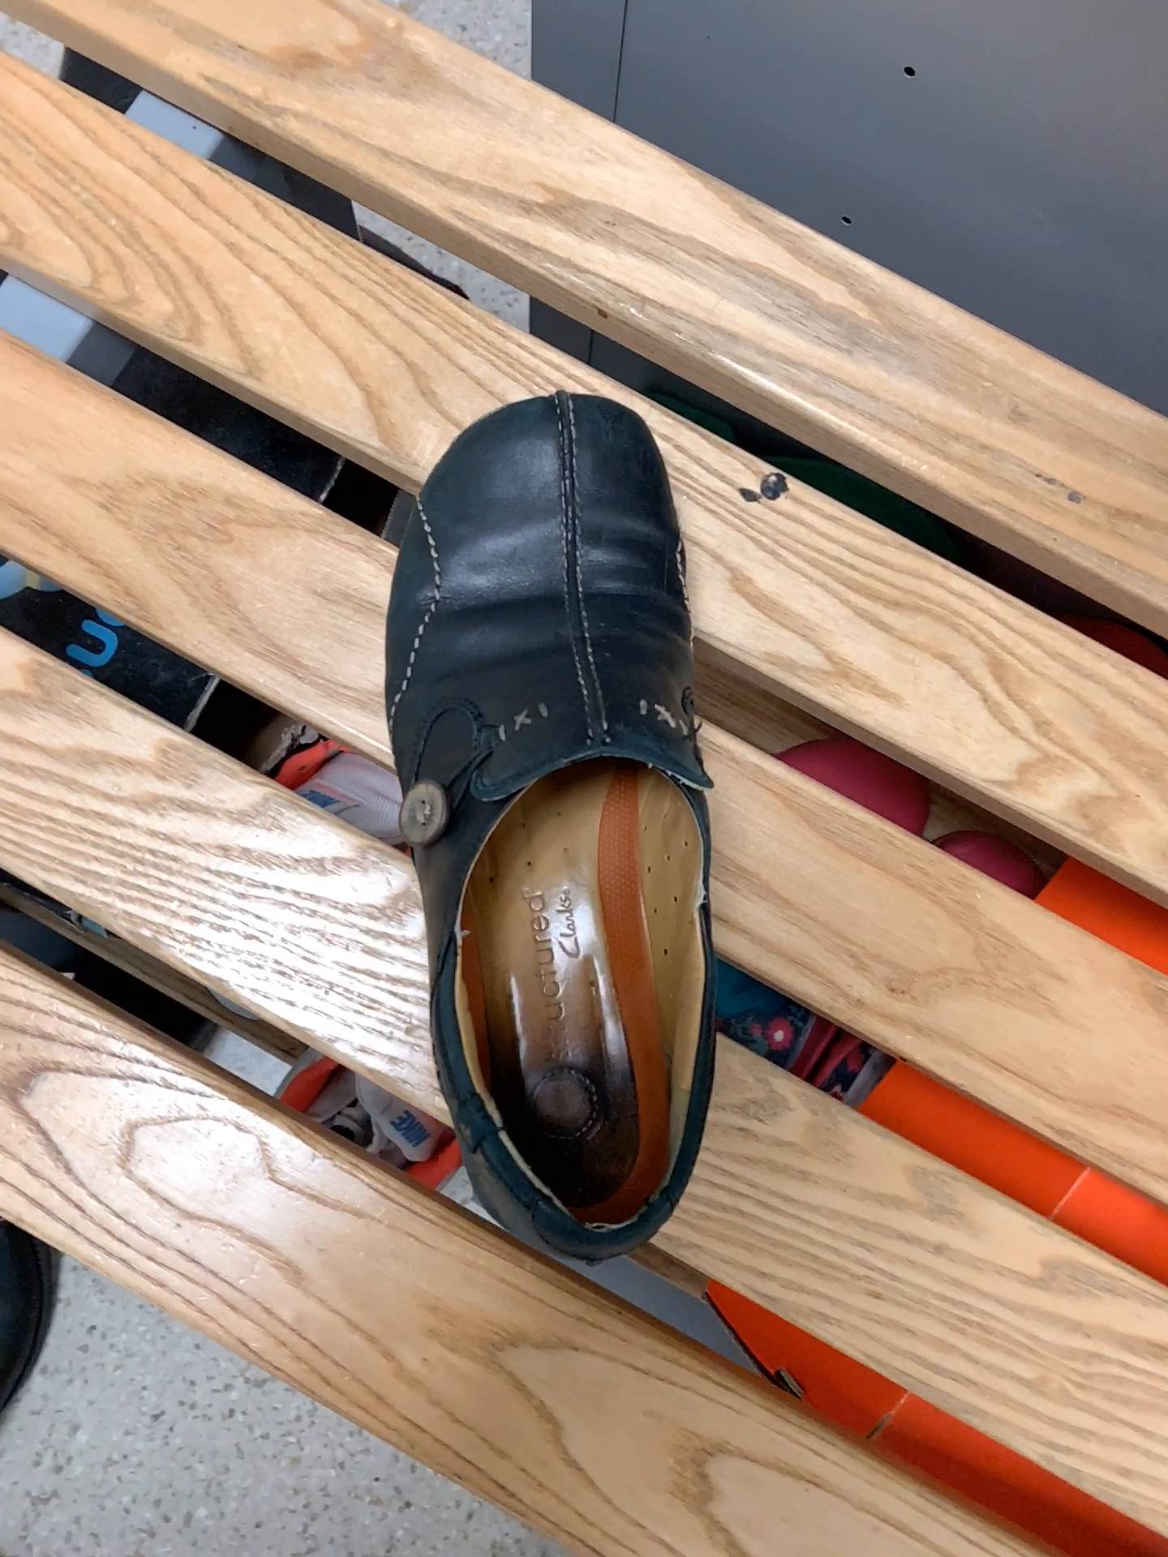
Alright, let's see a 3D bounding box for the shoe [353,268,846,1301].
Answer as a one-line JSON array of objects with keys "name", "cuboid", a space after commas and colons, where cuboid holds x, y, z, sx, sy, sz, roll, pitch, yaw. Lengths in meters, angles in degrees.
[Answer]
[{"name": "shoe", "cuboid": [-0.002, -0.003, 0.351, 0.104, 0.075, 0.268, -5, 80, -4]}]
